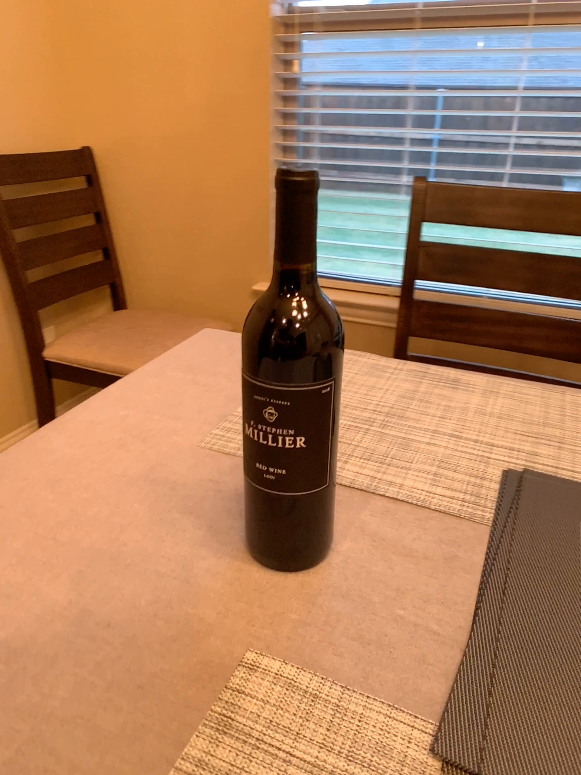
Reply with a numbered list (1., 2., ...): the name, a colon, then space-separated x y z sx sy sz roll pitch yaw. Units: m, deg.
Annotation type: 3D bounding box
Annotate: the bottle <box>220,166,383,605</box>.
1. bottle: 0.007 0.005 0.449 0.080 0.314 0.080 1 25 0
